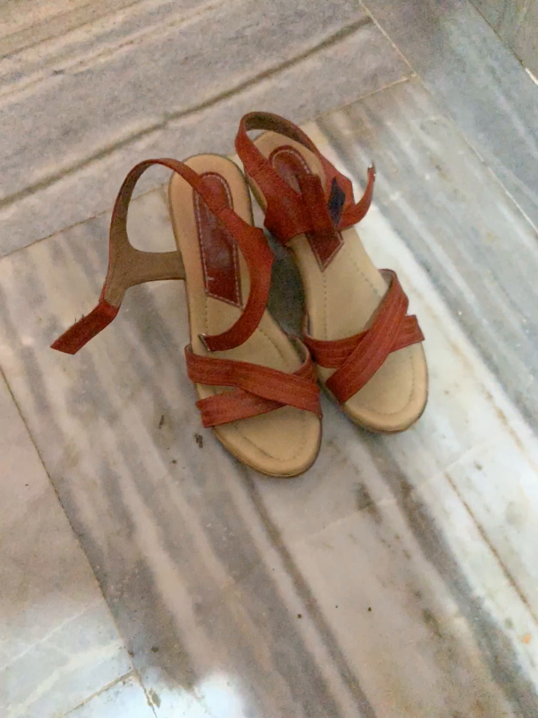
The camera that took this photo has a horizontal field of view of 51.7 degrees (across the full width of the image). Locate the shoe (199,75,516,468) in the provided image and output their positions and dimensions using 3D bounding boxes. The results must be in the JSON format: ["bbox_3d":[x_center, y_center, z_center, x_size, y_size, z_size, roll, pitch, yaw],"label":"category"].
[{"bbox_3d":[0.047,-0.058,0.397,0.100,0.100,0.240,-24,76,-9],"label":"shoe"}]

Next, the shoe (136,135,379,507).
[{"bbox_3d":[-0.016,-0.024,0.413,0.100,0.100,0.240,-14,75,-7],"label":"shoe"}]
